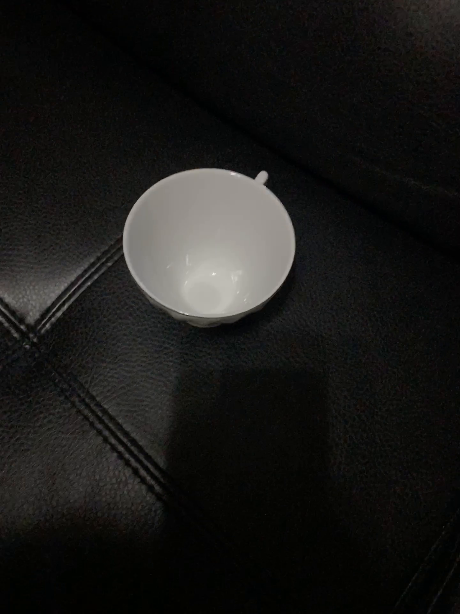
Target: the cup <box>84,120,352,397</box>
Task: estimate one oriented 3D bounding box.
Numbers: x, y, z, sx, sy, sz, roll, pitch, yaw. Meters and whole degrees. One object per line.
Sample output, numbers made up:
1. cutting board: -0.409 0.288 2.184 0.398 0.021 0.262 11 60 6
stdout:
1. cup: -0.004 -0.028 0.269 0.093 0.059 0.114 28 65 6
